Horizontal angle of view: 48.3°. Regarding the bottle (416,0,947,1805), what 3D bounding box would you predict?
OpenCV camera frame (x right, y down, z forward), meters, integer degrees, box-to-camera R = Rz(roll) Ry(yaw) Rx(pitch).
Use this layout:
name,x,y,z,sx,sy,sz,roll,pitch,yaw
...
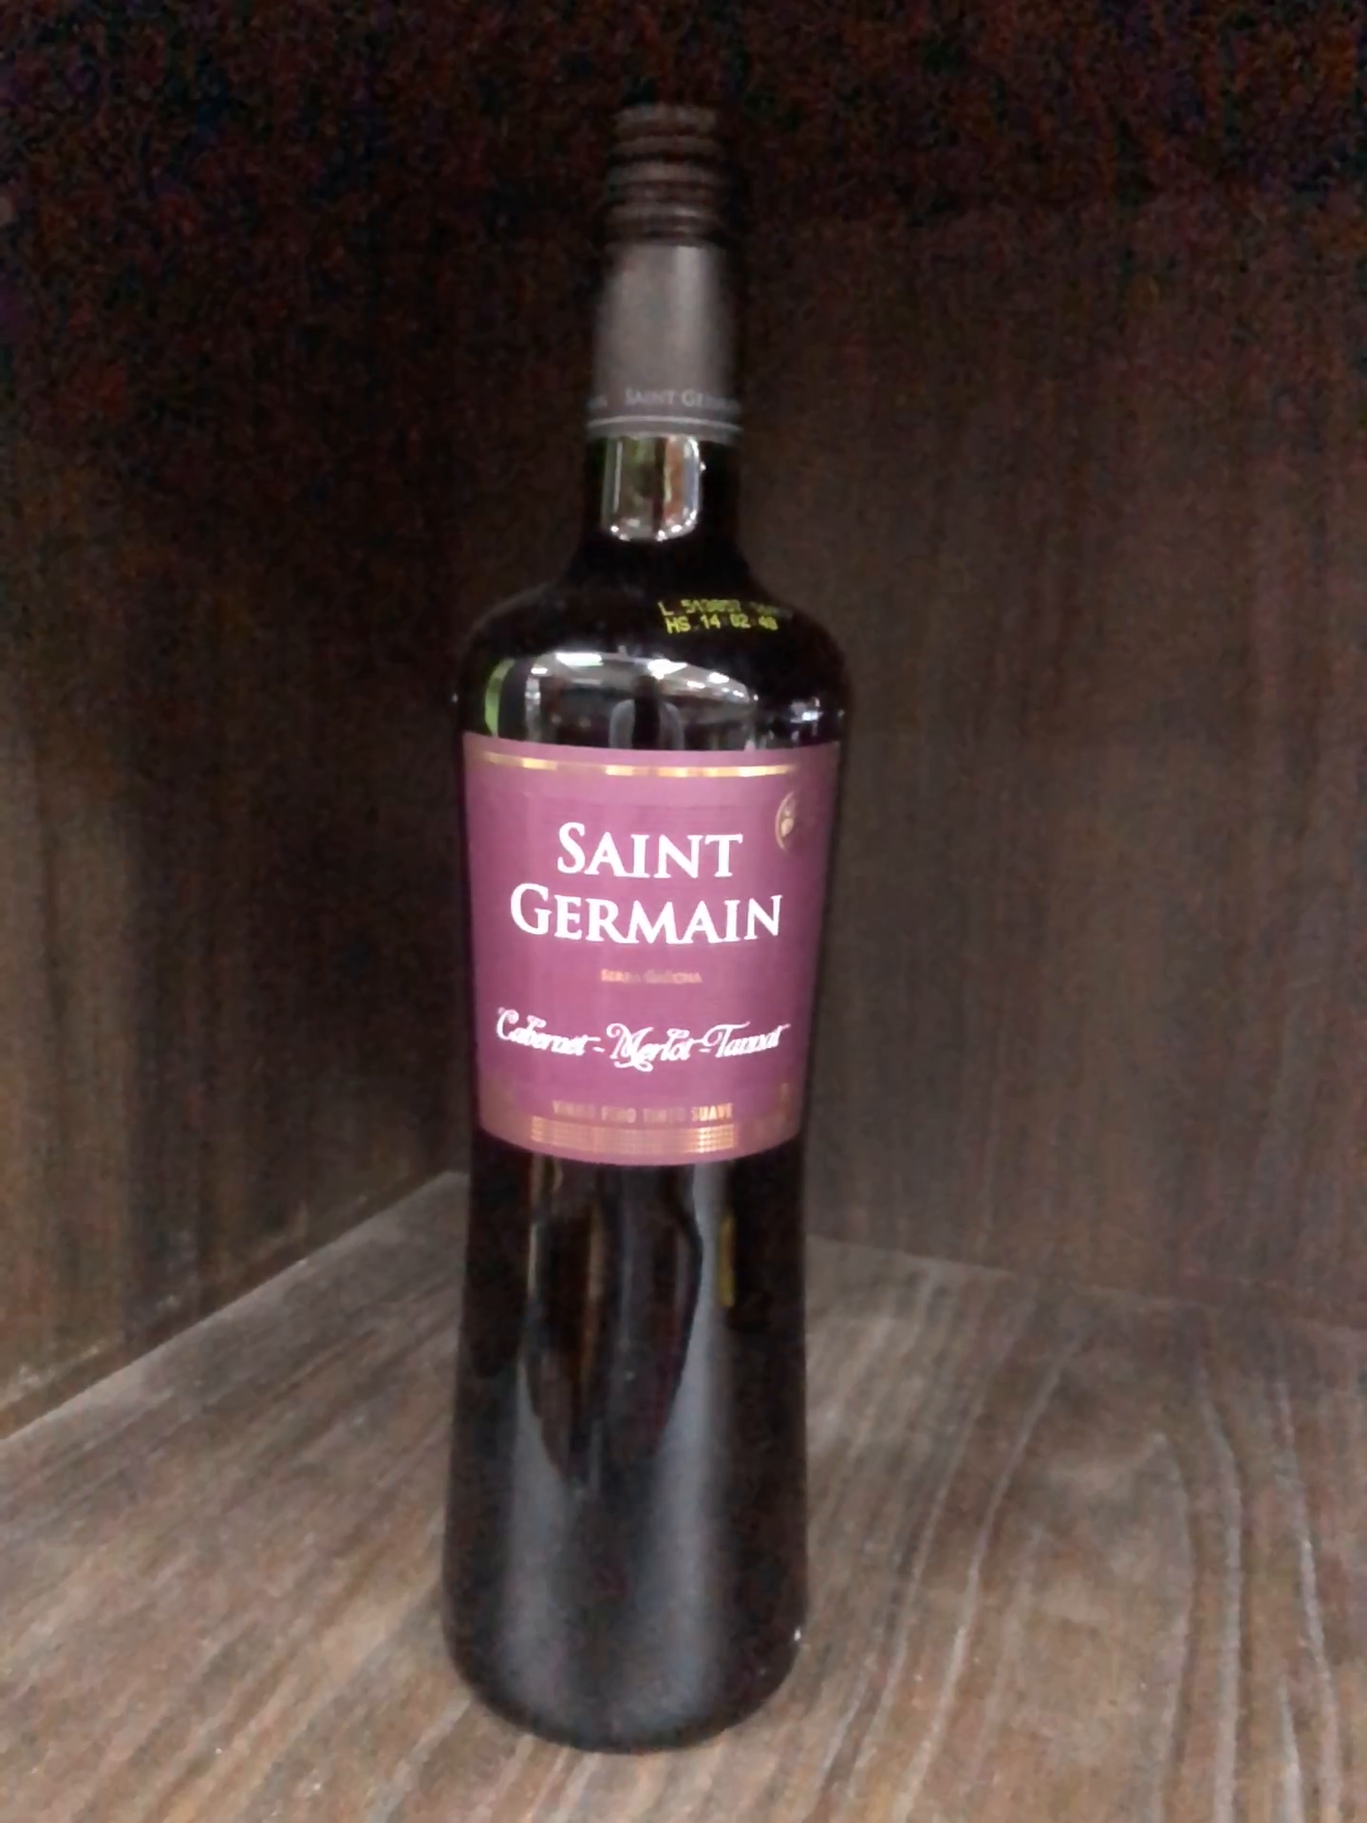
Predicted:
name,x,y,z,sx,sy,sz,roll,pitch,yaw
bottle,-0.009,0.002,0.290,0.080,0.309,0.070,0,9,-9
